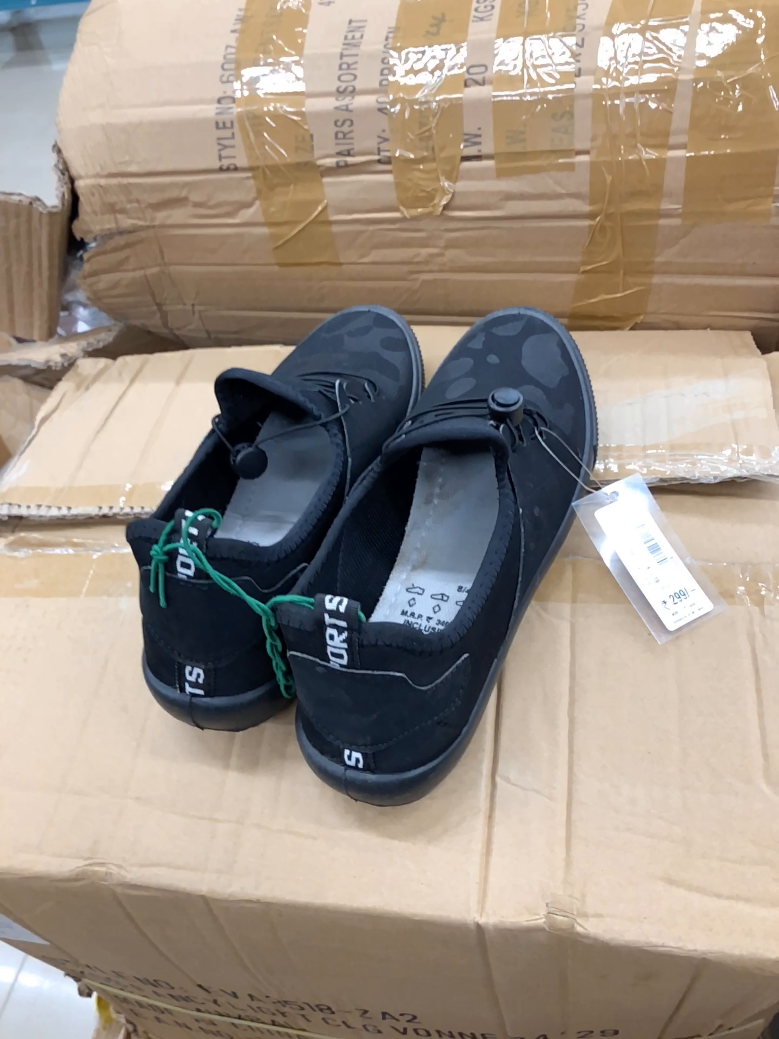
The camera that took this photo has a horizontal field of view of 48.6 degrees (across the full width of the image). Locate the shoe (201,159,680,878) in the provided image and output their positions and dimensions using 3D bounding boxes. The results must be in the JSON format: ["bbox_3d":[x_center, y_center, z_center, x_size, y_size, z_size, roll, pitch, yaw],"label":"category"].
[{"bbox_3d":[0.053,-0.028,0.408,0.120,0.129,0.322,8,51,18],"label":"shoe"}]

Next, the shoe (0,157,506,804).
[{"bbox_3d":[-0.035,-0.043,0.436,0.120,0.129,0.312,7,51,17],"label":"shoe"}]
